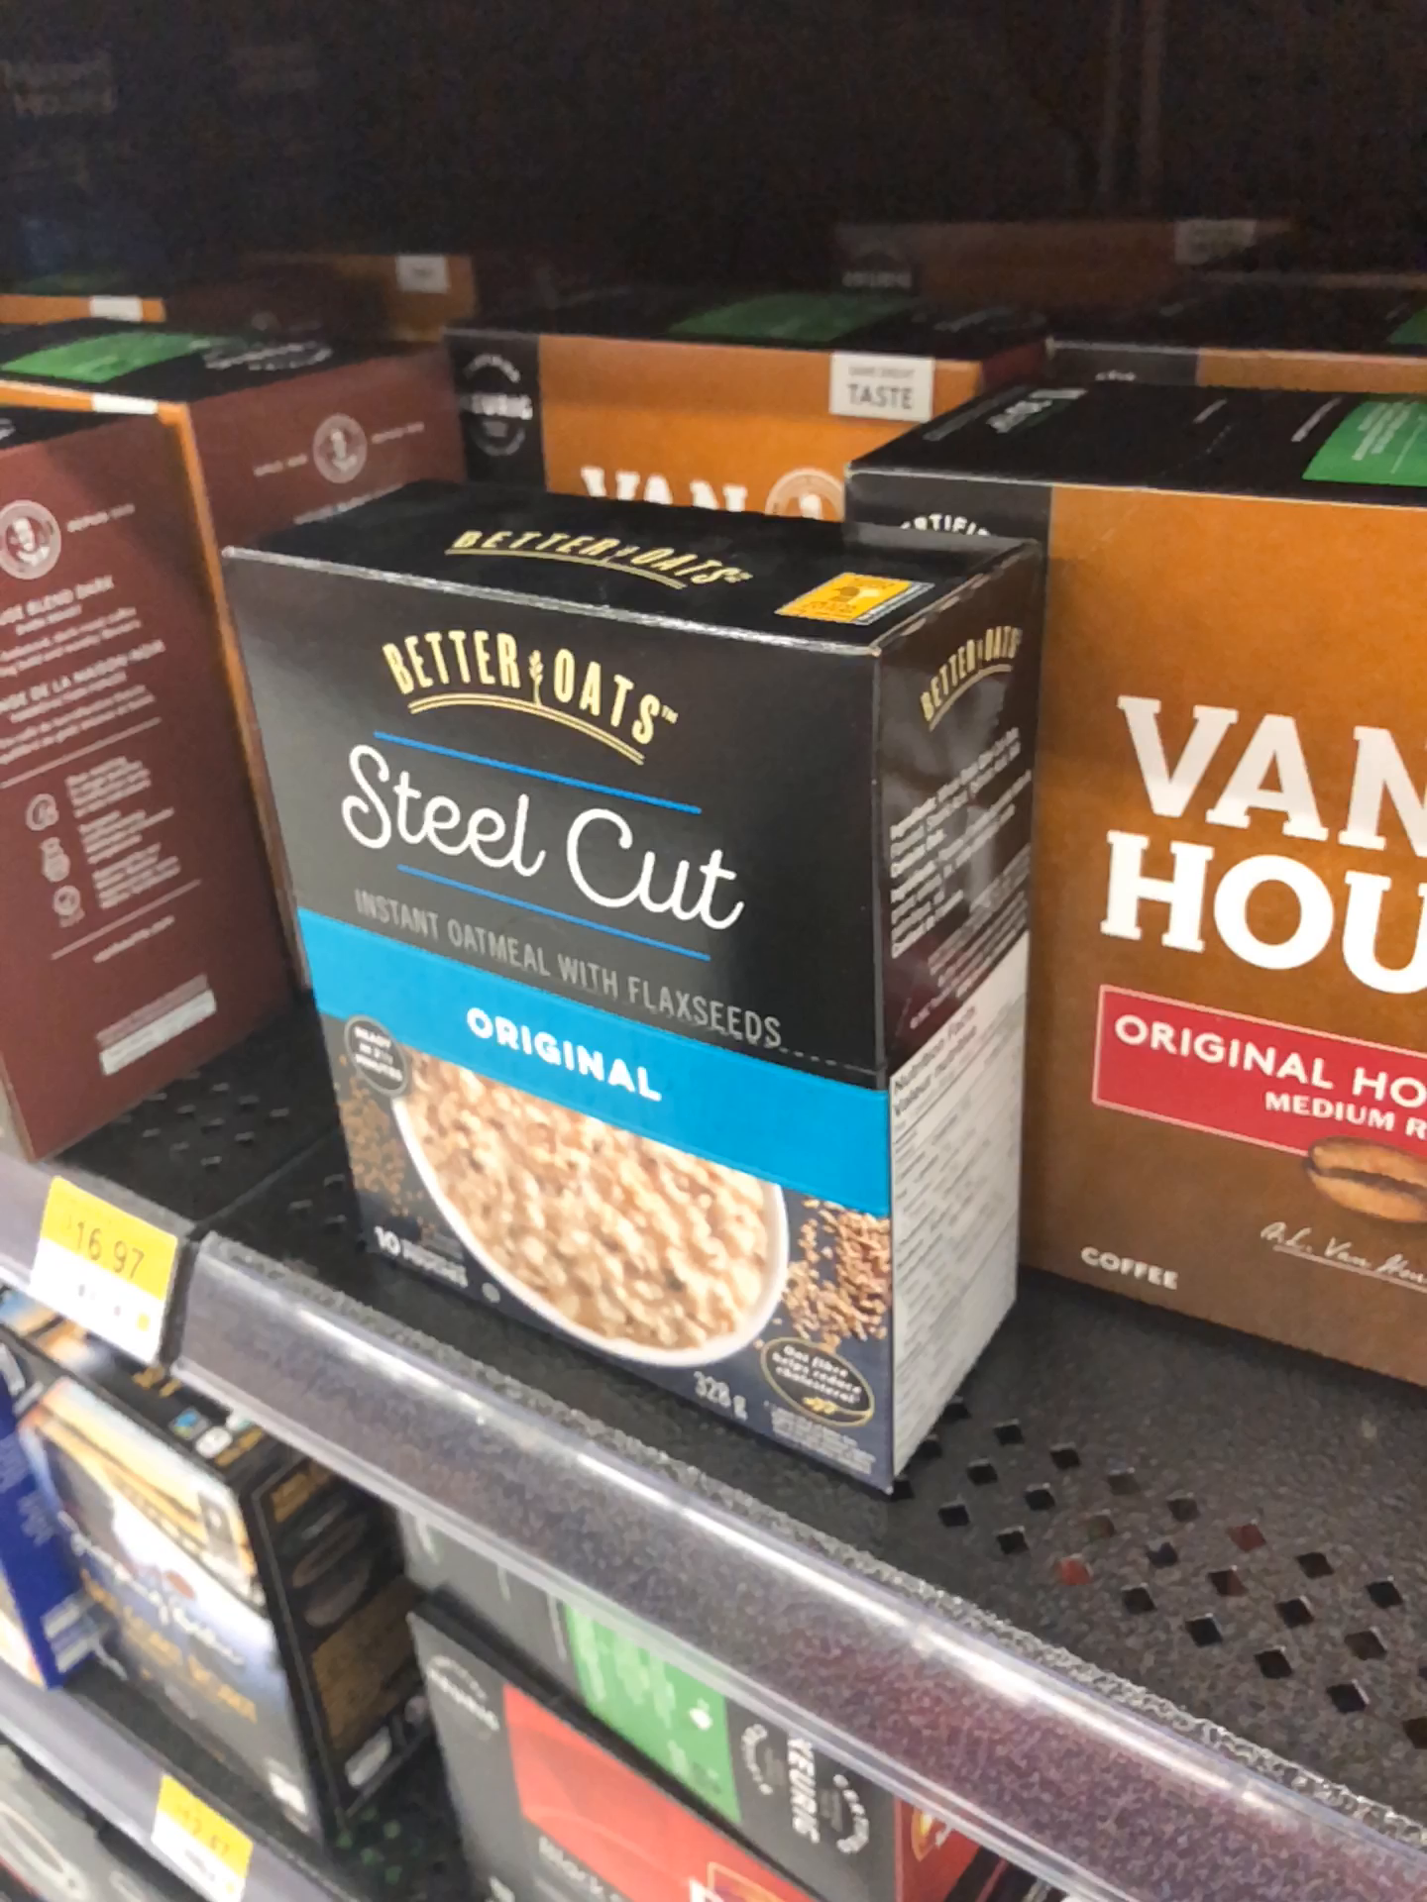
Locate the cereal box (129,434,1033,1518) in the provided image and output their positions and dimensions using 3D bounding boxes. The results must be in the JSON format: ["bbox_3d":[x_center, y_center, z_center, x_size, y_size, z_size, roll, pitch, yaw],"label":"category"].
[{"bbox_3d":[-0.021,0.001,0.321,0.150,0.179,0.060,16,36,30],"label":"cereal box"}]
